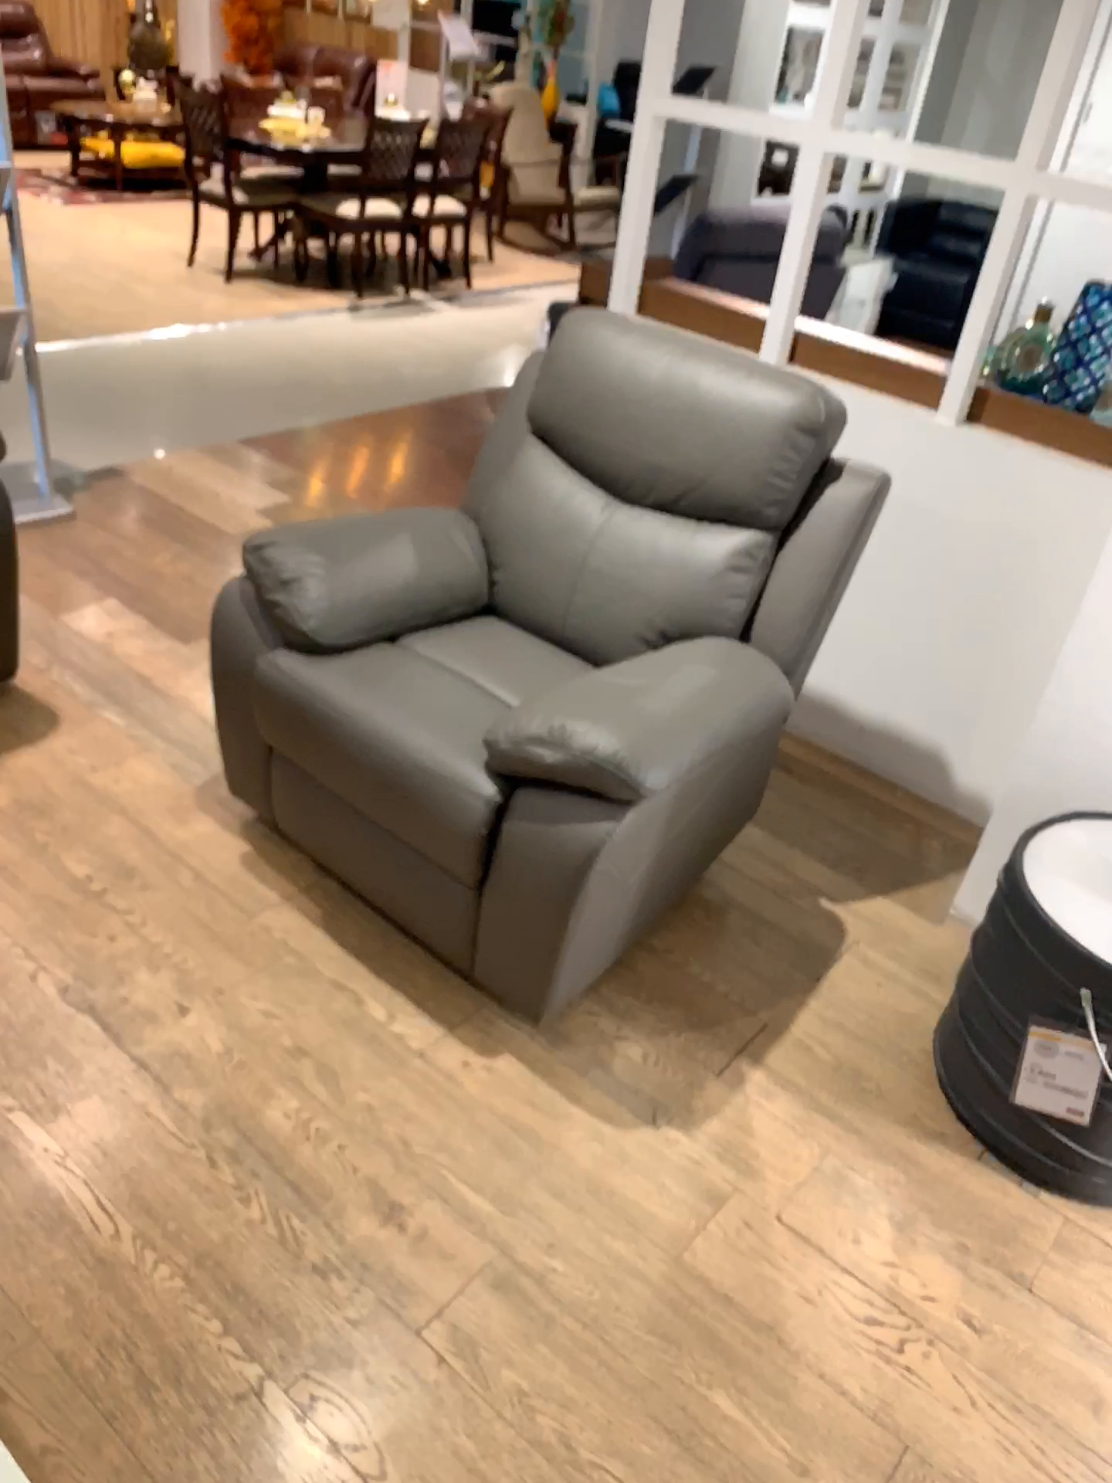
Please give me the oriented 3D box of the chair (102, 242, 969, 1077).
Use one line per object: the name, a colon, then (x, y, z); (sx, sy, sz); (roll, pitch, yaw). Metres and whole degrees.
chair: (-0.064, -0.264, 2.047); (1.002, 0.936, 0.942); (30, 38, 30)
